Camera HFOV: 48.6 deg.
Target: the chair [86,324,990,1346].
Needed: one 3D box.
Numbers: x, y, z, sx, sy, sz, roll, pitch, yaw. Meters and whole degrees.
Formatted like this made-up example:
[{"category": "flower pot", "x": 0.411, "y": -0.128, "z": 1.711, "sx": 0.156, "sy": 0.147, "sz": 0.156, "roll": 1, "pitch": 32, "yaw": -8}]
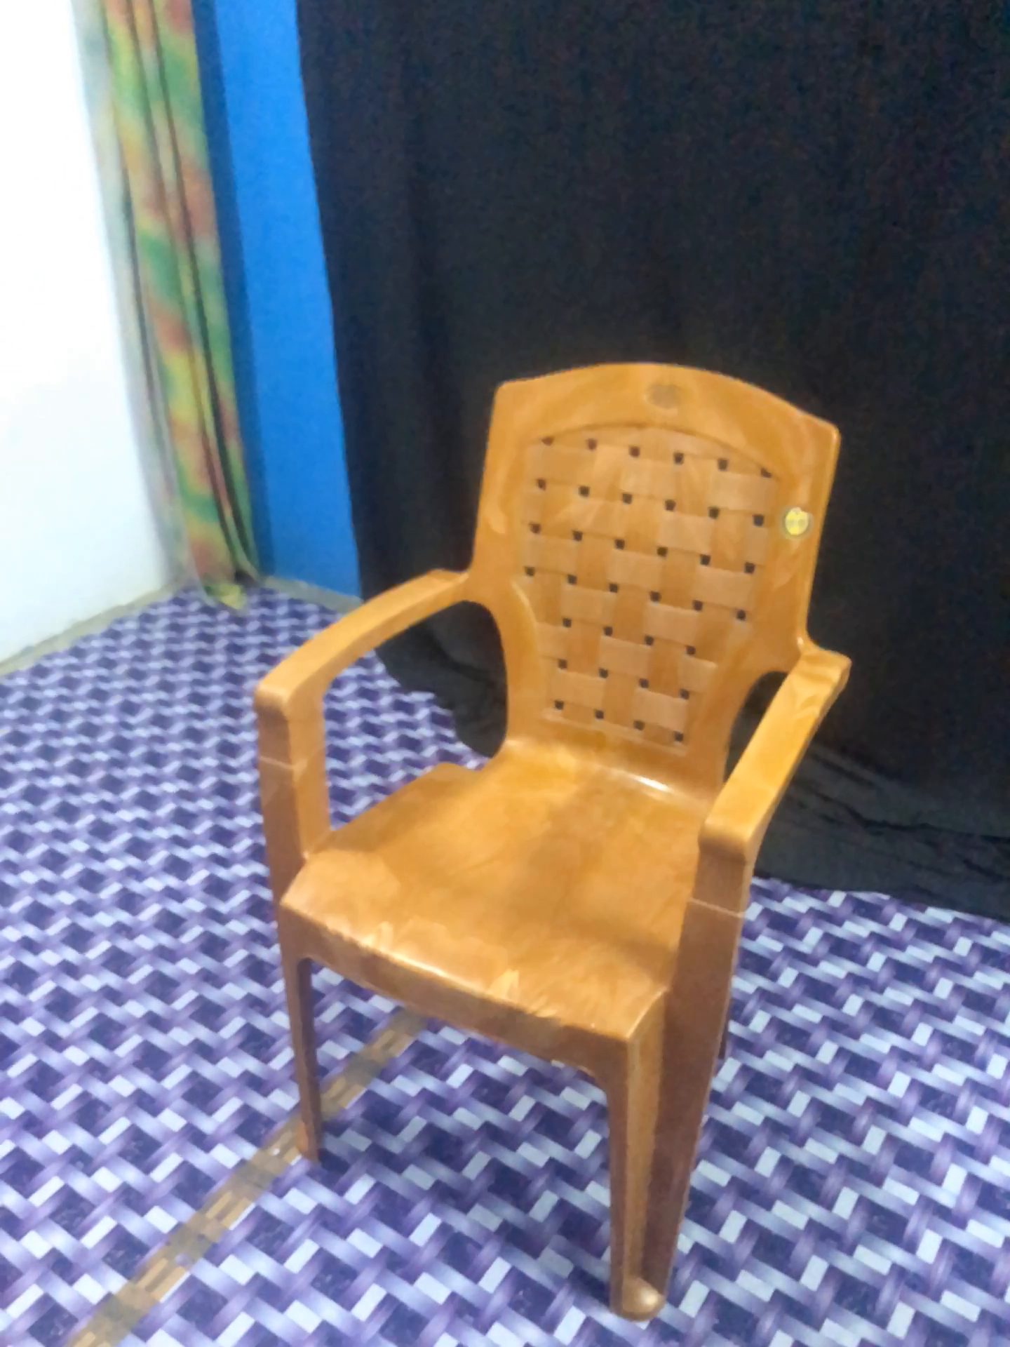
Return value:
[{"category": "chair", "x": 0.079, "y": 0.112, "z": 1.241, "sx": 0.600, "sy": 0.786, "sz": 0.663, "roll": 16, "pitch": 33, "yaw": 27}]
